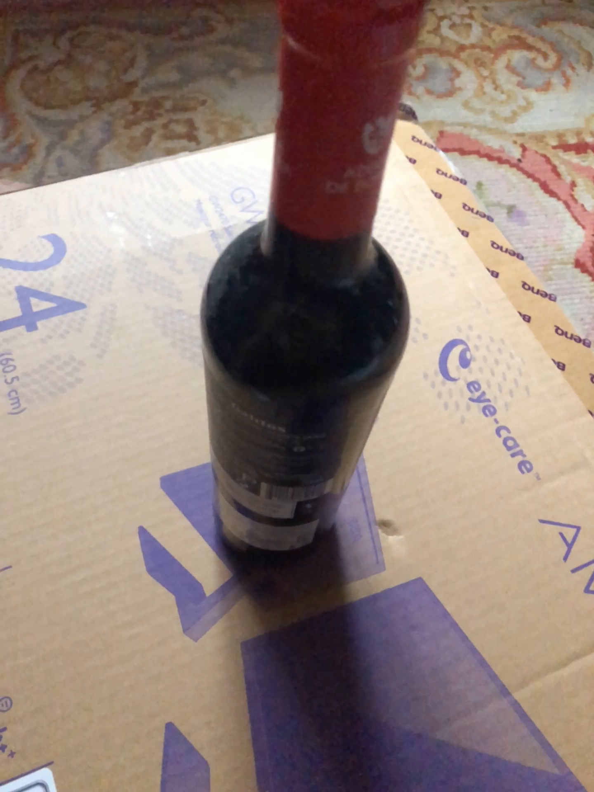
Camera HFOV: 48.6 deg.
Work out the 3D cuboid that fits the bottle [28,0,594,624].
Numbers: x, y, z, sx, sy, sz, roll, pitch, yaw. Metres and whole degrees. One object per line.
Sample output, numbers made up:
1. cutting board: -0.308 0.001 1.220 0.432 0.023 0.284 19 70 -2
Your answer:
1. bottle: -0.006 -0.004 0.256 0.090 0.299 0.090 2 59 -3
